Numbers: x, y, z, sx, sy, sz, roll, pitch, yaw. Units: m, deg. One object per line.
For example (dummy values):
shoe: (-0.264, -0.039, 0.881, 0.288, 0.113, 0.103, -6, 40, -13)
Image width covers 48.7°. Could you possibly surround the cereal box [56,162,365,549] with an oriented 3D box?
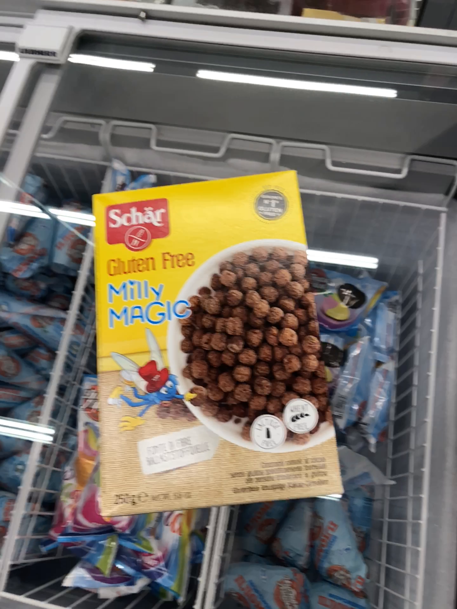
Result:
cereal box: (-0.019, 0.031, 0.344, 0.170, 0.070, 0.220, -8, 74, 4)
